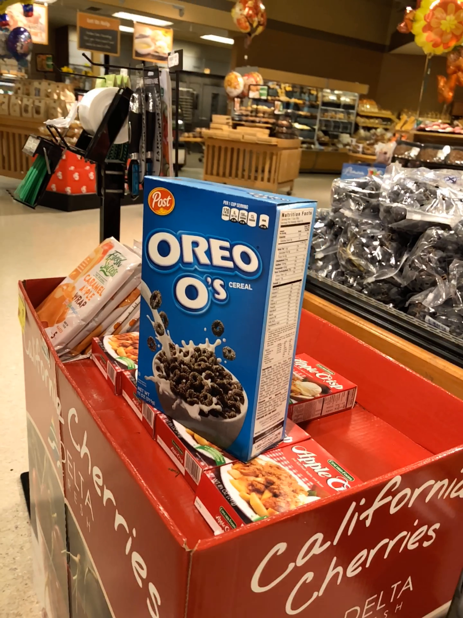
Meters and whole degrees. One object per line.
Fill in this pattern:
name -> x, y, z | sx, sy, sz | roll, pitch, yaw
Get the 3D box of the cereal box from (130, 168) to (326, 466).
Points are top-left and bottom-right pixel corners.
cereal box -> -0.019, -0.003, 0.571 | 0.200, 0.279, 0.070 | 20, 23, 37
